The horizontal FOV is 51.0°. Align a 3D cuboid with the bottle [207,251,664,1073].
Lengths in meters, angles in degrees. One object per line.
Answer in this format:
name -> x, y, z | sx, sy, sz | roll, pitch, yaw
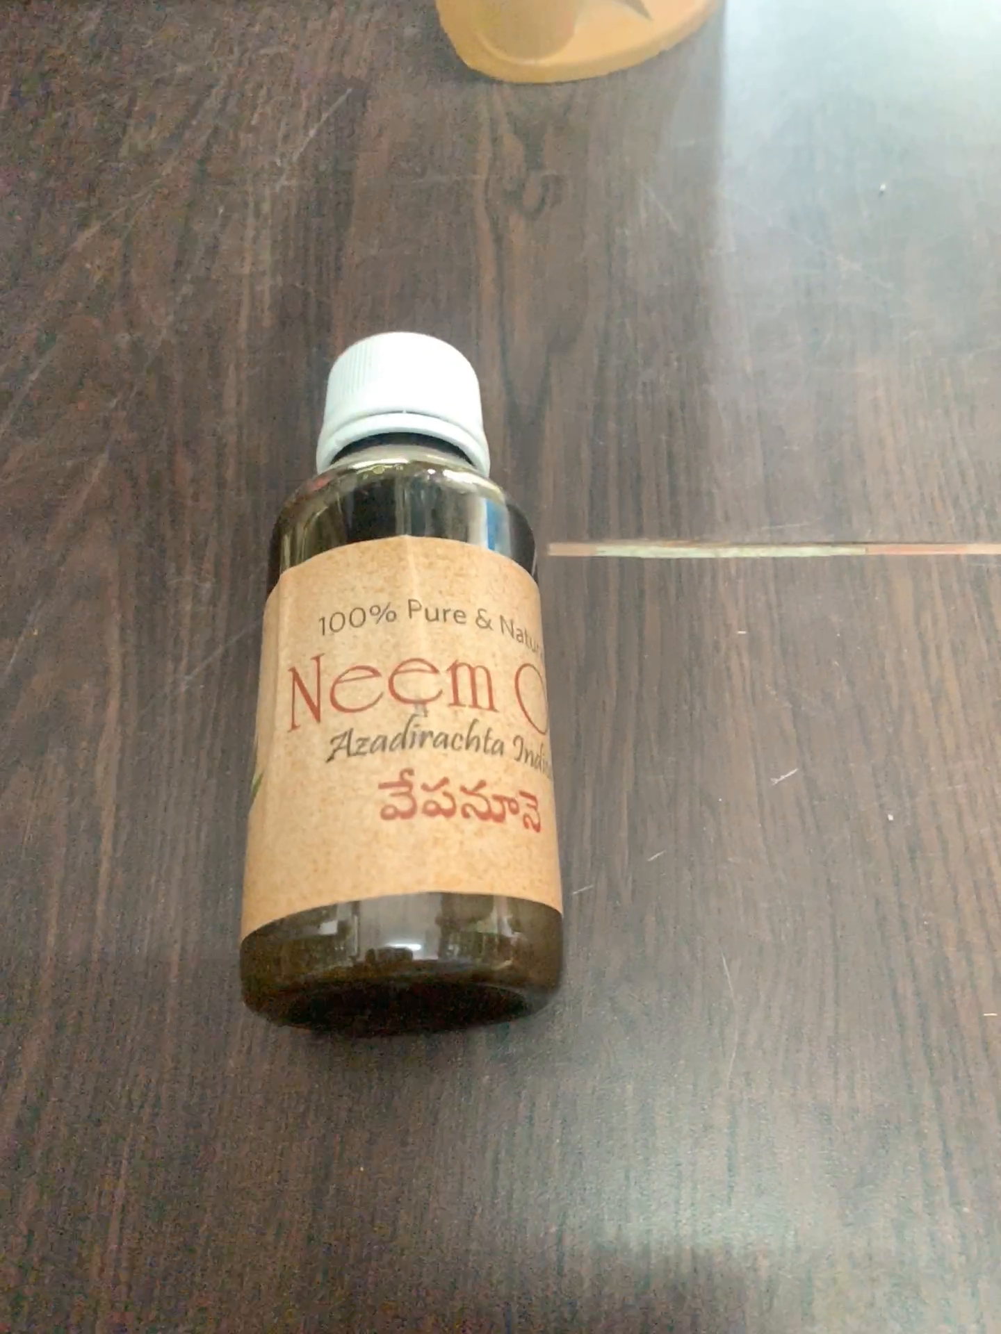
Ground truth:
bottle -> -0.015, -0.003, 0.166 | 0.050, 0.040, 0.120 | 7, 59, -20
